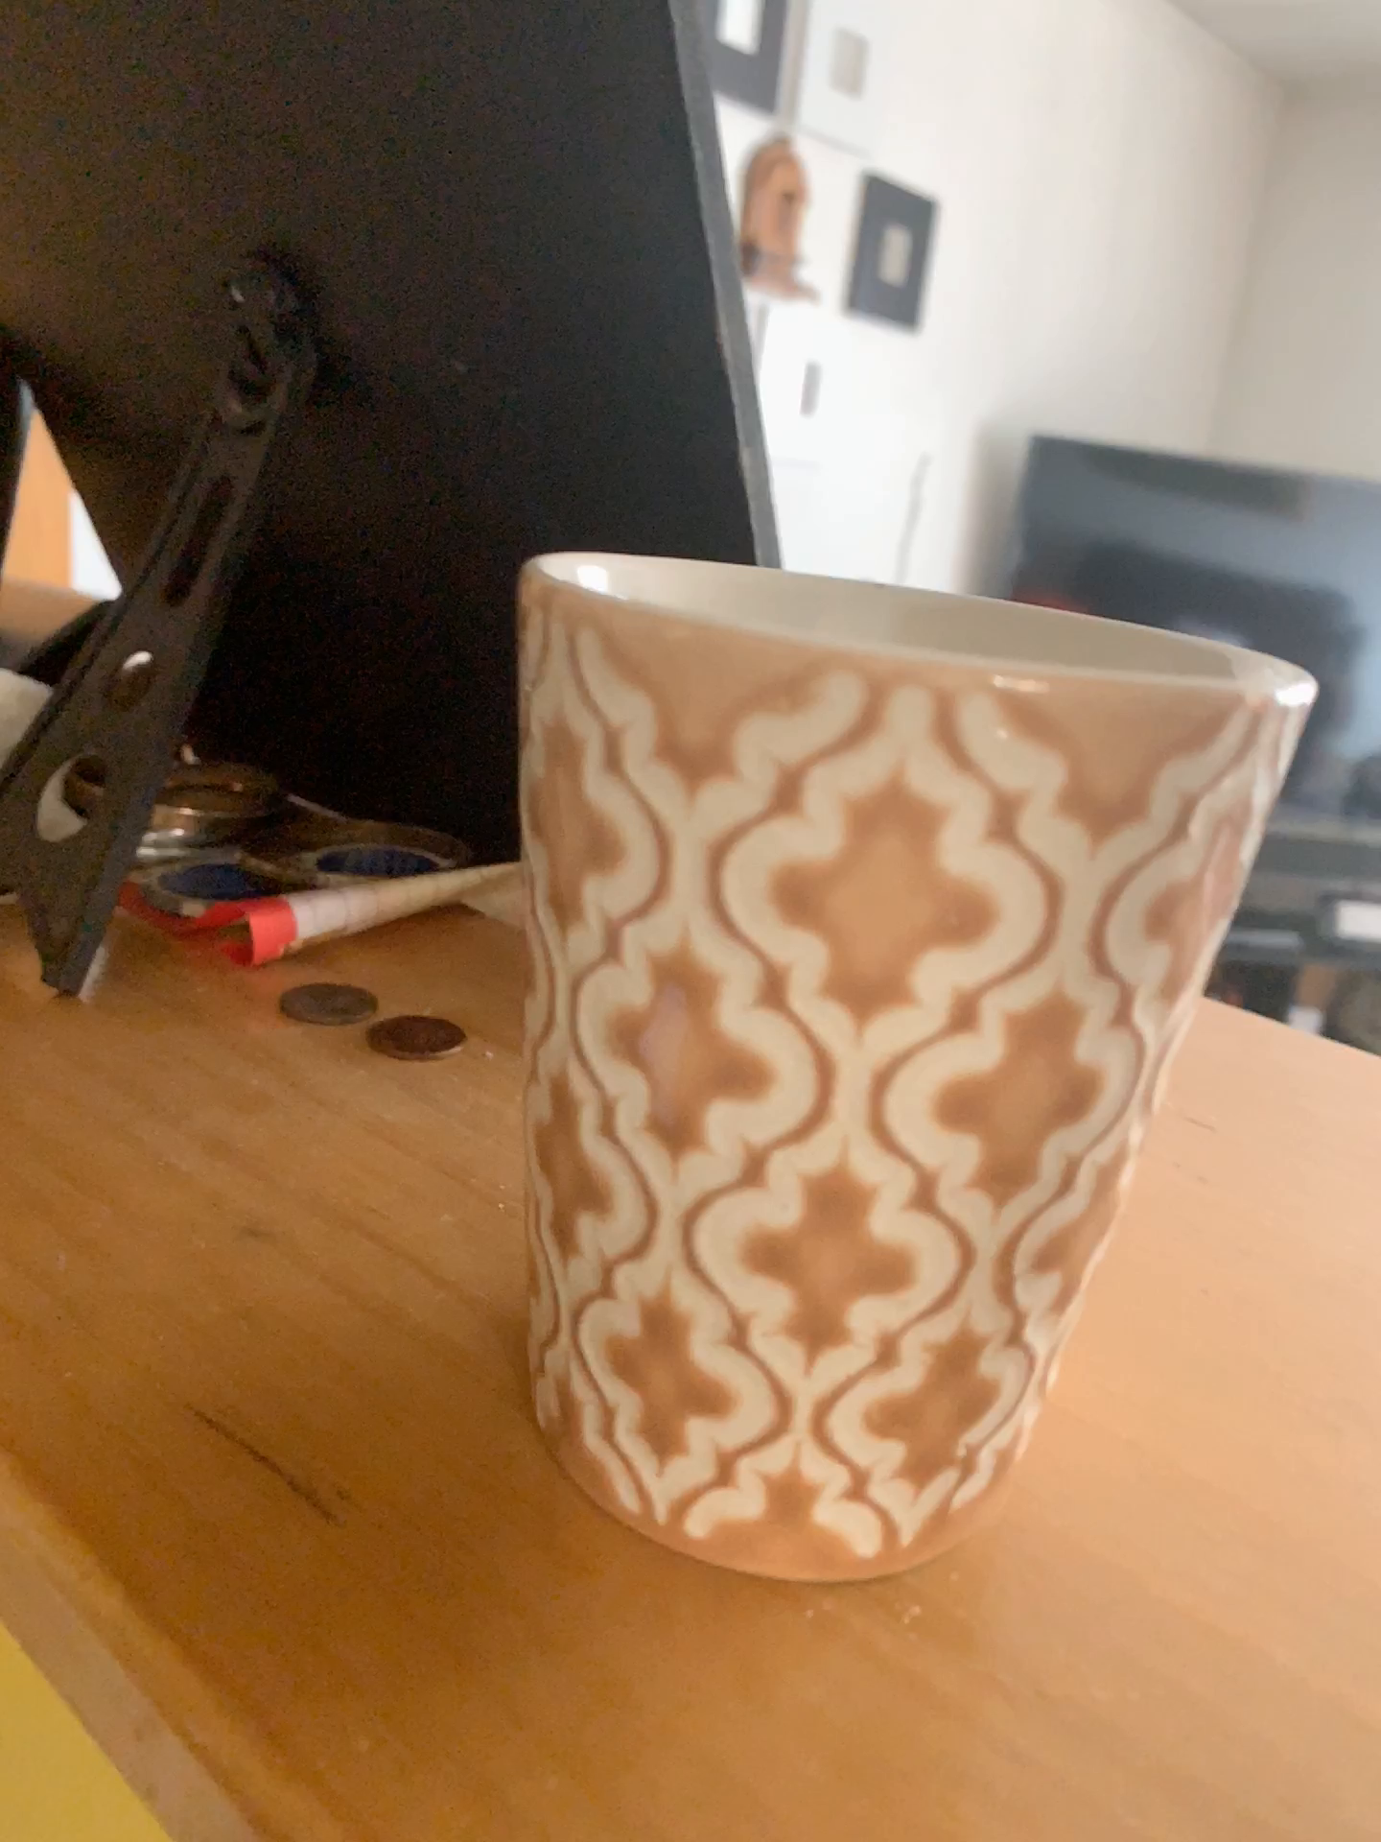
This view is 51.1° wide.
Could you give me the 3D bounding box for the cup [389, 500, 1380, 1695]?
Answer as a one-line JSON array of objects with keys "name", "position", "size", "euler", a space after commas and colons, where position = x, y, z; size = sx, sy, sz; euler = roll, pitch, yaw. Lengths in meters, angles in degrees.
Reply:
[{"name": "cup", "position": [0.015, 0.007, 0.201], "size": [0.090, 0.109, 0.120], "euler": [0, 19, -21]}]
